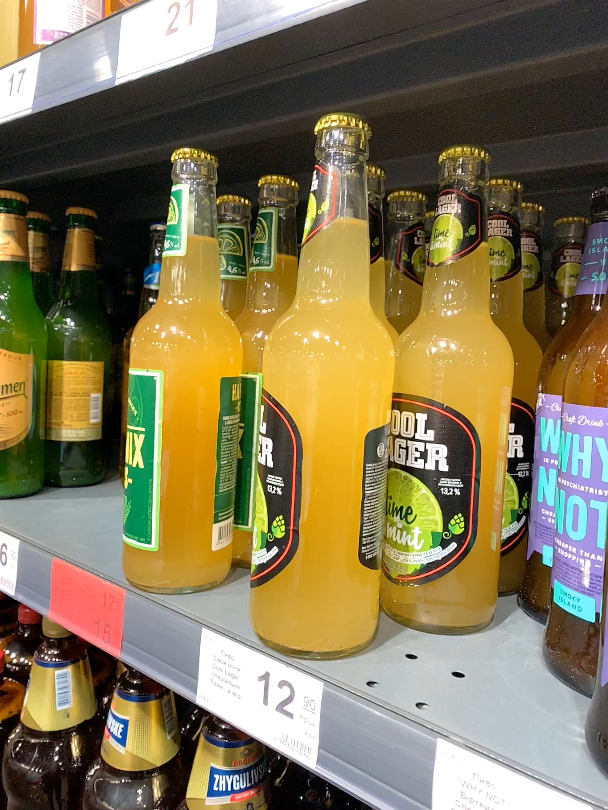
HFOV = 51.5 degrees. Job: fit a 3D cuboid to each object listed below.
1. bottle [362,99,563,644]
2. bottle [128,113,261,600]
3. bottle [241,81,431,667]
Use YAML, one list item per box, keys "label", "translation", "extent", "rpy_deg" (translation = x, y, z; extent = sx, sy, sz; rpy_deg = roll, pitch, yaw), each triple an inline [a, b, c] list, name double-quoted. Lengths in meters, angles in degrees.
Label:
- label: "bottle"
  translation: [0.080, -0.014, 0.337]
  extent: [0.069, 0.260, 0.063]
  rpy_deg: [2, 4, 0]
- label: "bottle"
  translation: [-0.068, -0.025, 0.380]
  extent: [0.064, 0.260, 0.078]
  rpy_deg: [1, 5, -12]
- label: "bottle"
  translation: [0.010, -0.011, 0.300]
  extent: [0.065, 0.244, 0.063]
  rpy_deg: [2, 4, 0]
